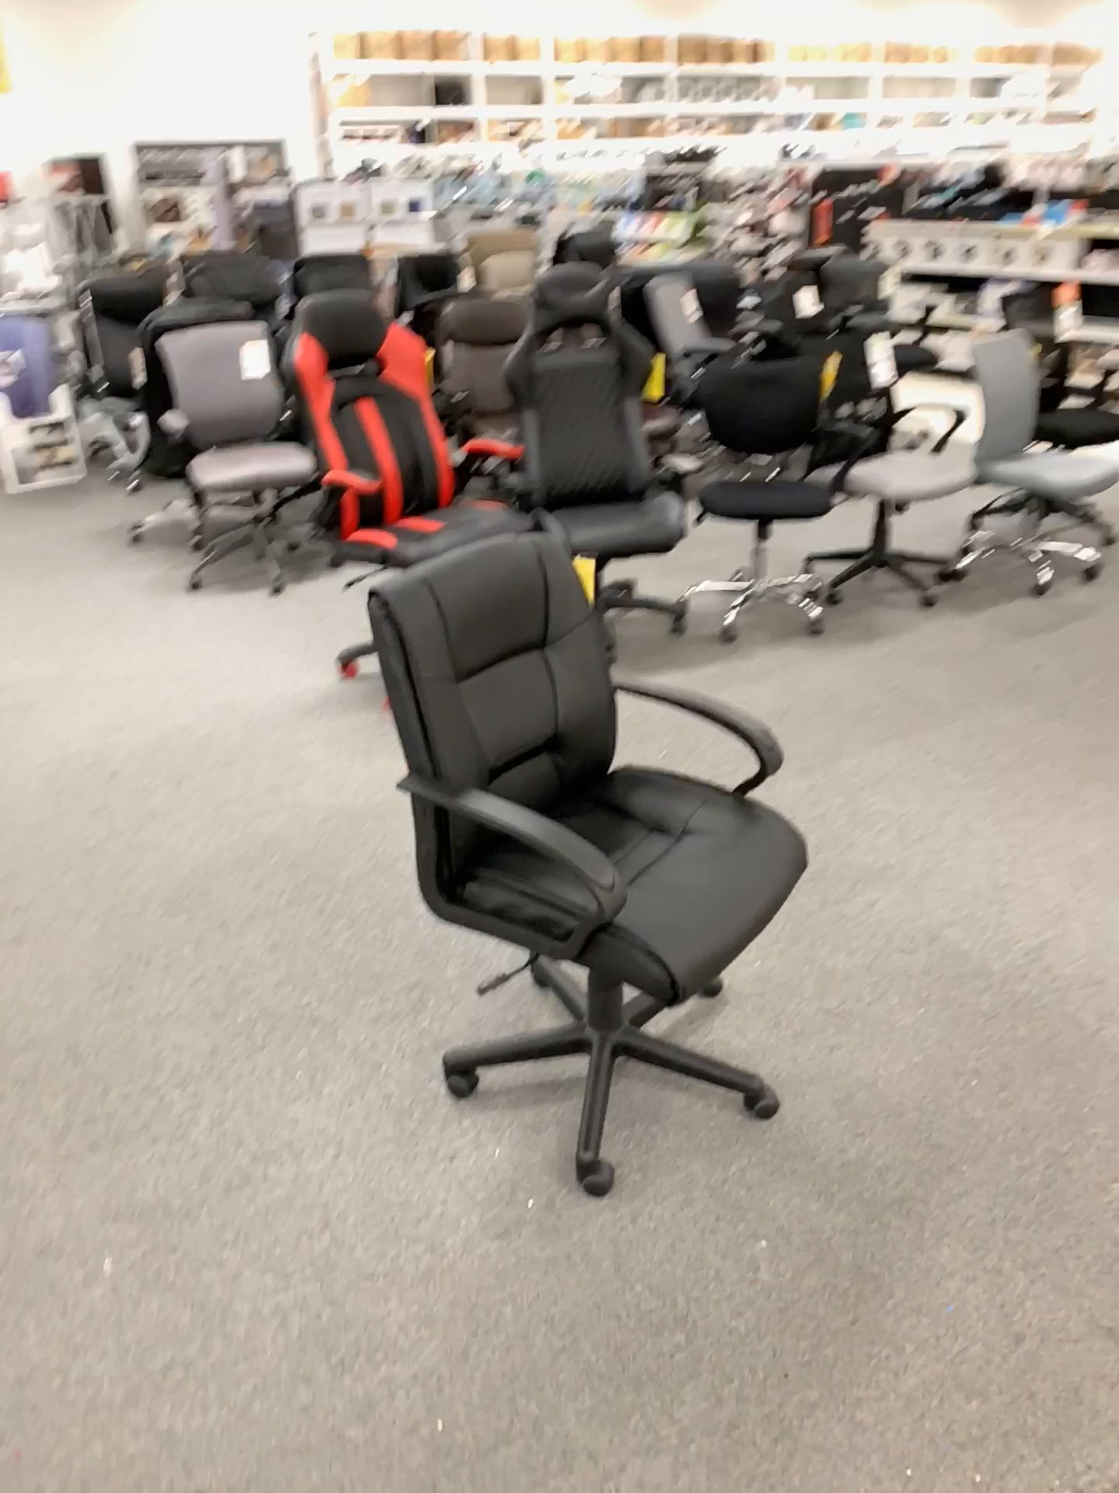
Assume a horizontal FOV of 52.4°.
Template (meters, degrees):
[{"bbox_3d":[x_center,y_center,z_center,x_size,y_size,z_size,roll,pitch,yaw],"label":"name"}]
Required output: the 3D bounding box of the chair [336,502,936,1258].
[{"bbox_3d":[0.137,0.155,2.015,0.702,0.965,0.681,17,29,33],"label":"chair"}]
